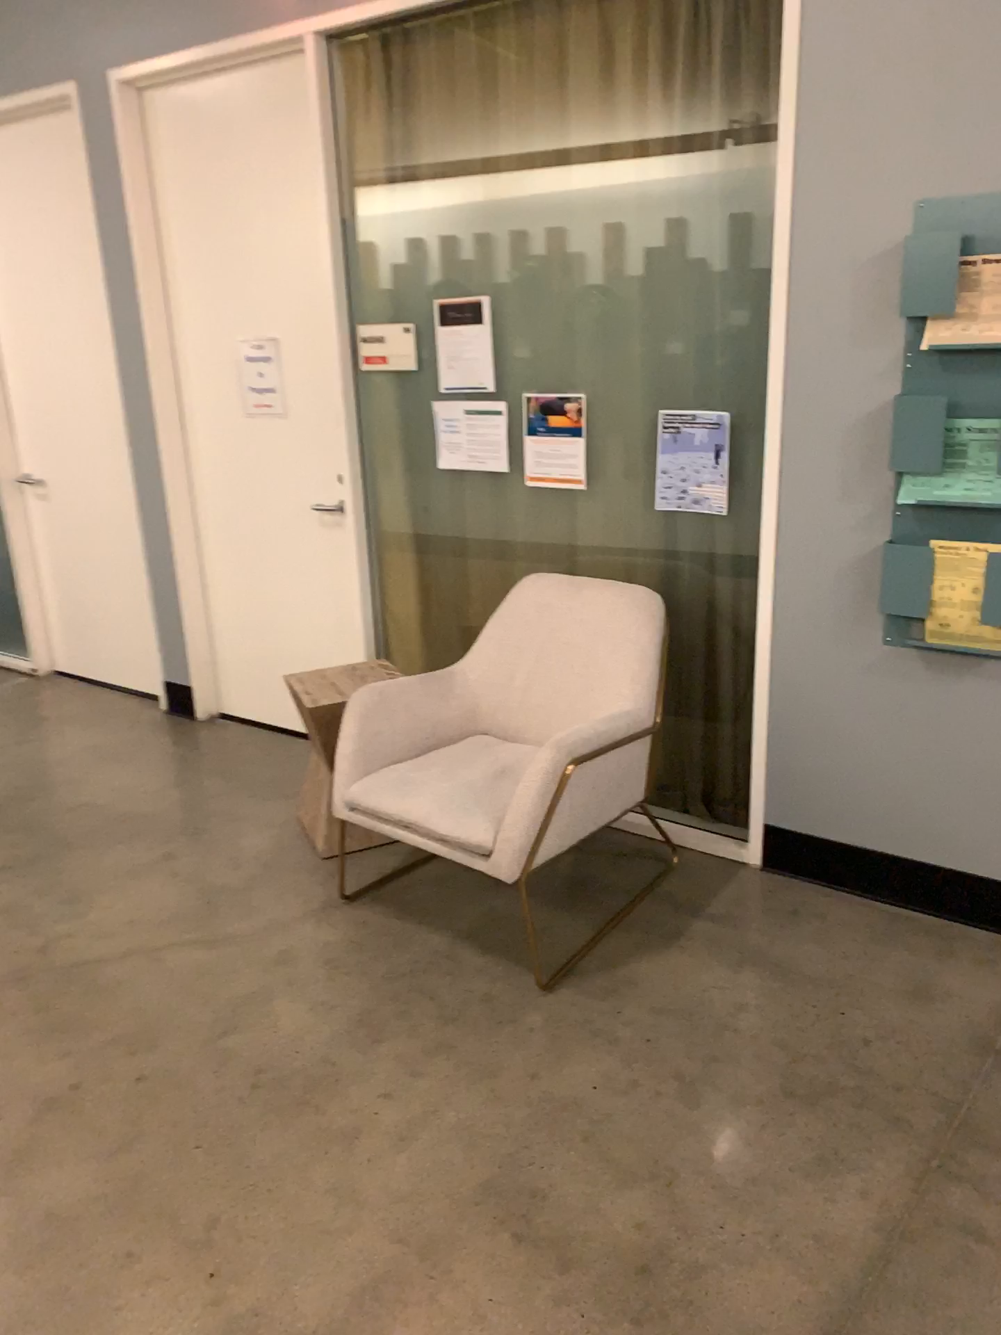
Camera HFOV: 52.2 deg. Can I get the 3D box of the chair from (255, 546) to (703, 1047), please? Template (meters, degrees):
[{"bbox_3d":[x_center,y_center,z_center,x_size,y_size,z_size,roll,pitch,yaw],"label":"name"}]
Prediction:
[{"bbox_3d":[-0.015,0.247,2.753,0.782,0.926,0.872,11,22,35],"label":"chair"}]
